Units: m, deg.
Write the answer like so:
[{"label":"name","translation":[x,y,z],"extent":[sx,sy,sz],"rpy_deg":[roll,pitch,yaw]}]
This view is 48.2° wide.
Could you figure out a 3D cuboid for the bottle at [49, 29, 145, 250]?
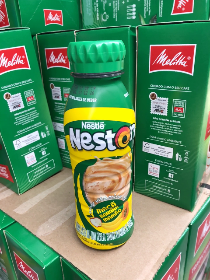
[{"label":"bottle","translation":[-0.001,0.004,0.207],"extent":[0.060,0.179,0.060],"rpy_deg":[-2,21,1]}]
